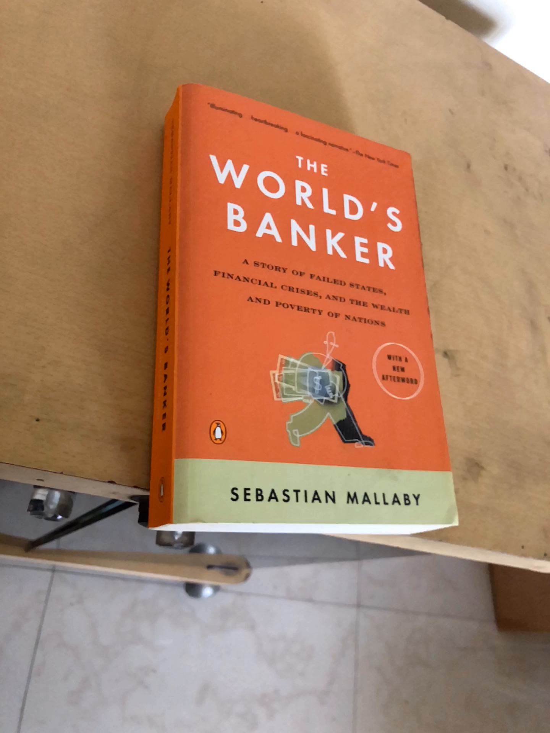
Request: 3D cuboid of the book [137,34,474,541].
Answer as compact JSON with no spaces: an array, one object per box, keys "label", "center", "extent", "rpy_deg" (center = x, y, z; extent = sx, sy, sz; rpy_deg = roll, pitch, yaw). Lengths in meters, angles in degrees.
[{"label":"book","center":[0.015,-0.034,0.287],"extent":[0.140,0.030,0.220],"rpy_deg":[9,67,-26]}]
